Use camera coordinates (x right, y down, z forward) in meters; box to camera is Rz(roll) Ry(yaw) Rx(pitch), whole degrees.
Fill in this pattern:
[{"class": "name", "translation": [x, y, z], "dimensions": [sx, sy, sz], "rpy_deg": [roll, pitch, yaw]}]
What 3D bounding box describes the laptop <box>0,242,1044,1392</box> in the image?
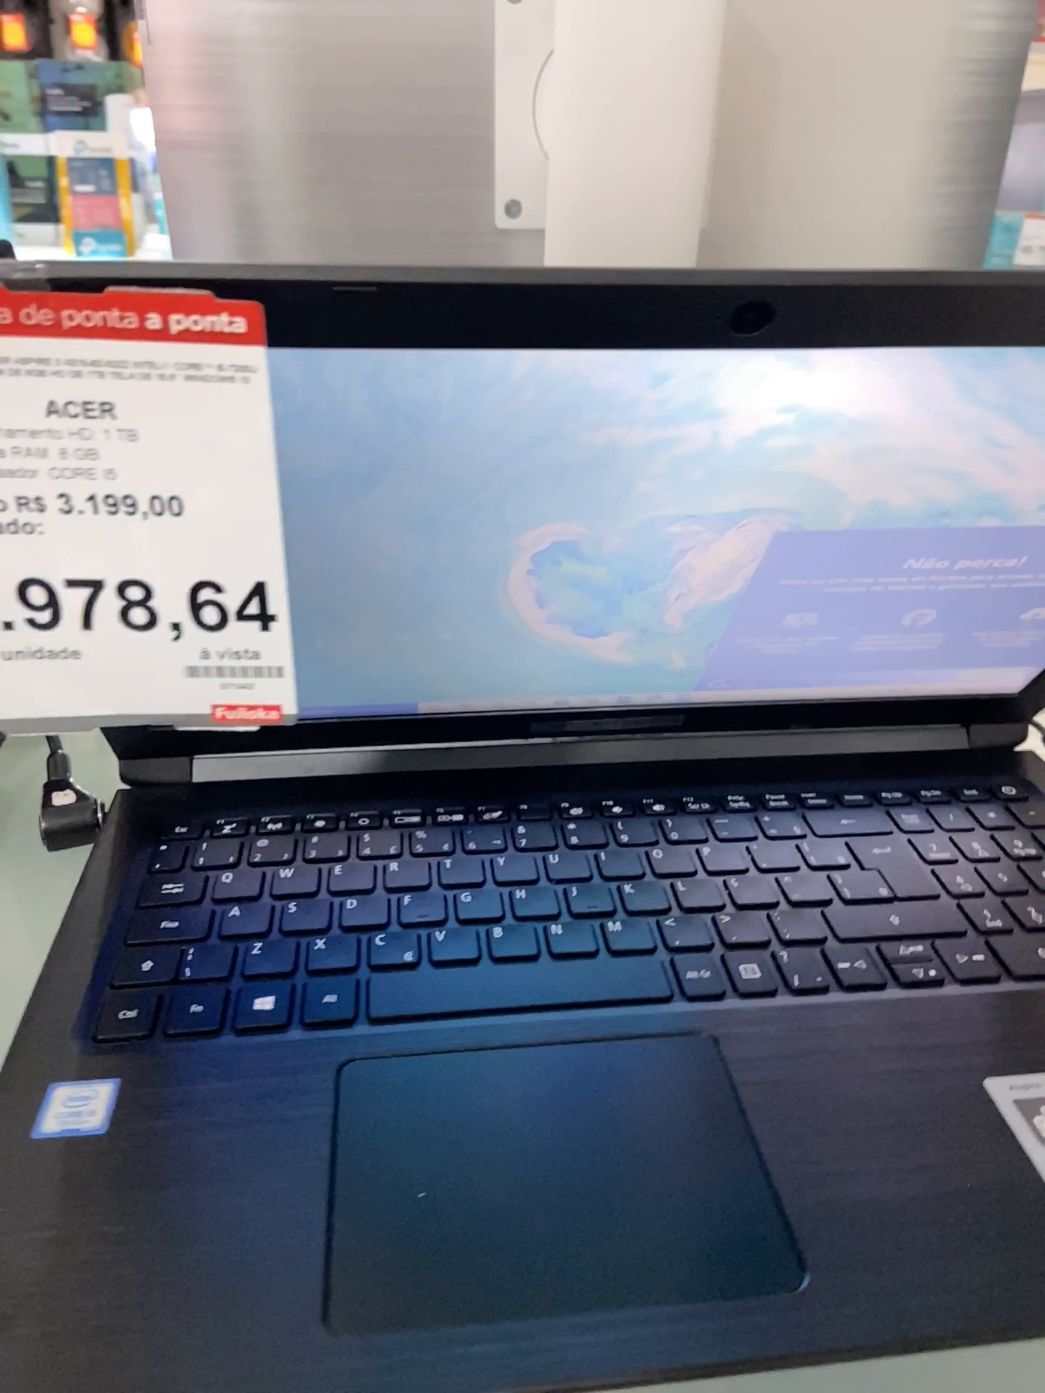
[{"class": "laptop", "translation": [0.047, -0.005, 0.287], "dimensions": [0.367, 0.193, 0.235], "rpy_deg": [-3, 27, -6]}]
